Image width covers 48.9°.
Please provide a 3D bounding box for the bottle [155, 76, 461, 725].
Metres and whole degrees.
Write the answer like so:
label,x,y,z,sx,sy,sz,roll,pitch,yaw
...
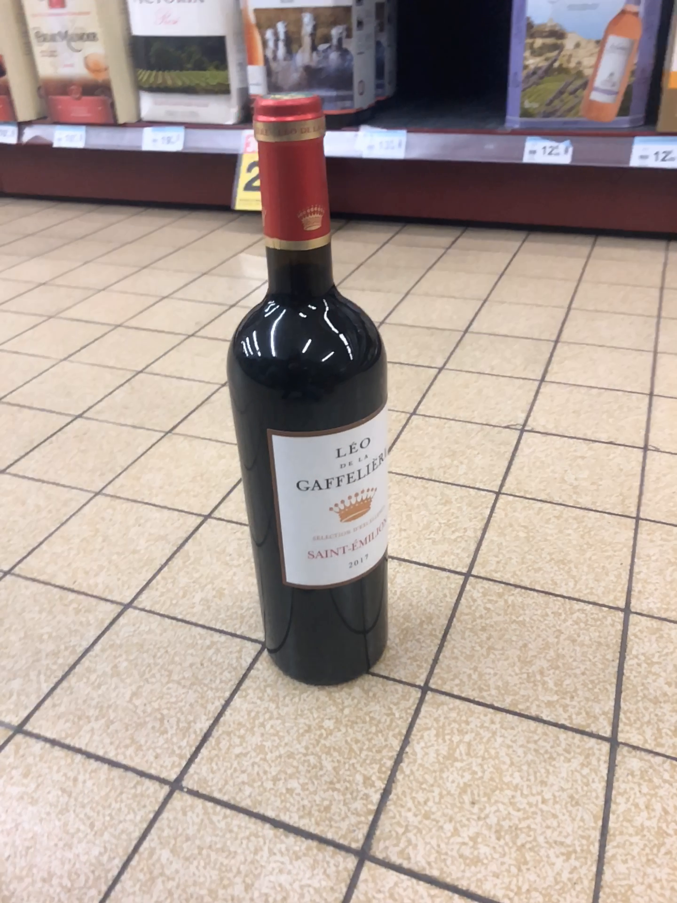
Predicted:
label,x,y,z,sx,sy,sz,roll,pitch,yaw
bottle,-0.011,-0.015,0.359,0.090,0.287,0.090,-2,31,1
